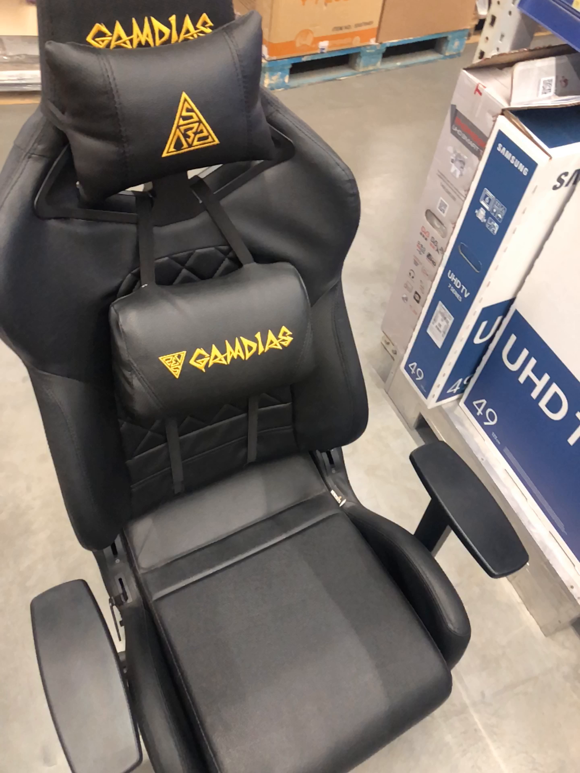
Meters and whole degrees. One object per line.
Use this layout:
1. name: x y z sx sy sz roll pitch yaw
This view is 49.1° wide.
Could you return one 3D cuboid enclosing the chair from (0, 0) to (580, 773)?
1. chair: -0.053 0.165 0.972 0.742 1.283 0.783 -20 58 -20
